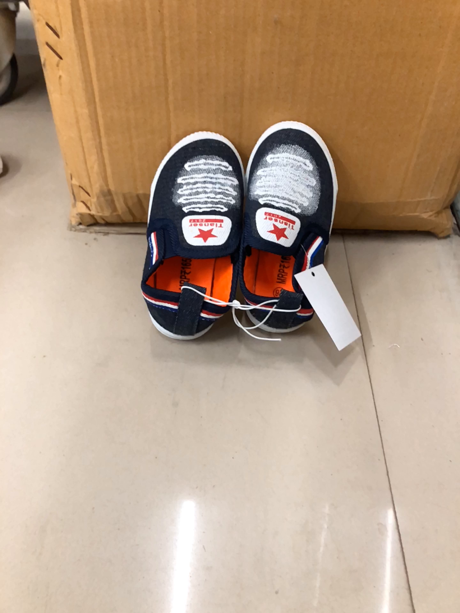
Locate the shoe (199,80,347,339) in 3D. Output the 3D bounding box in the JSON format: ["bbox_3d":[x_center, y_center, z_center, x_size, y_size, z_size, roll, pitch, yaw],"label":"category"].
[{"bbox_3d":[0.030,-0.067,0.371,0.080,0.160,0.081,6,9,5],"label":"shoe"}]
